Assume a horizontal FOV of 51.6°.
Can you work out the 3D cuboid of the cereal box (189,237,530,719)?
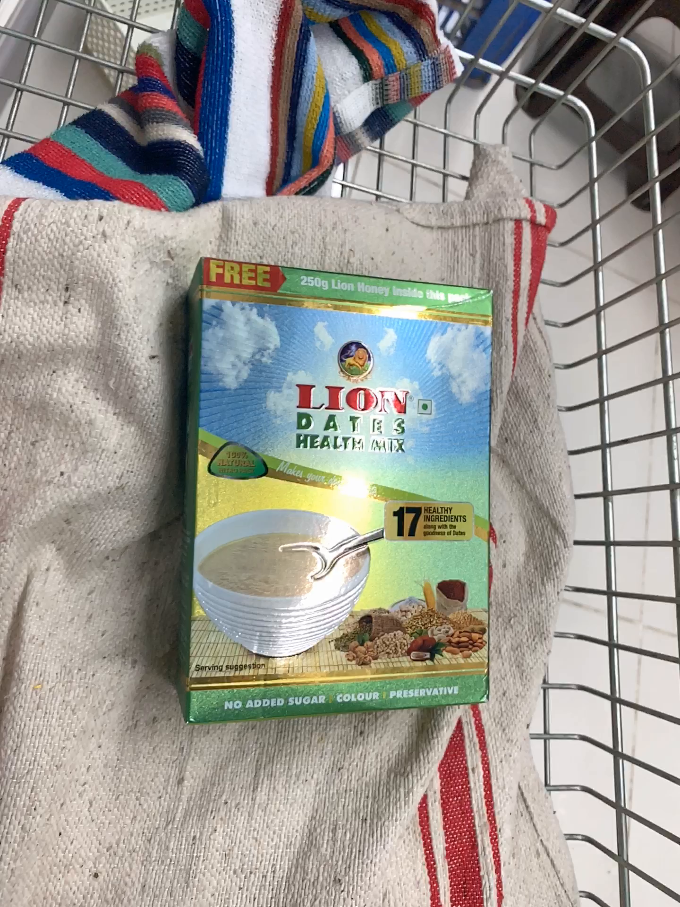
[{"bbox_3d":[0.005,0.013,0.340,0.140,0.090,0.190,2,87,-16],"label":"cereal box"}]
